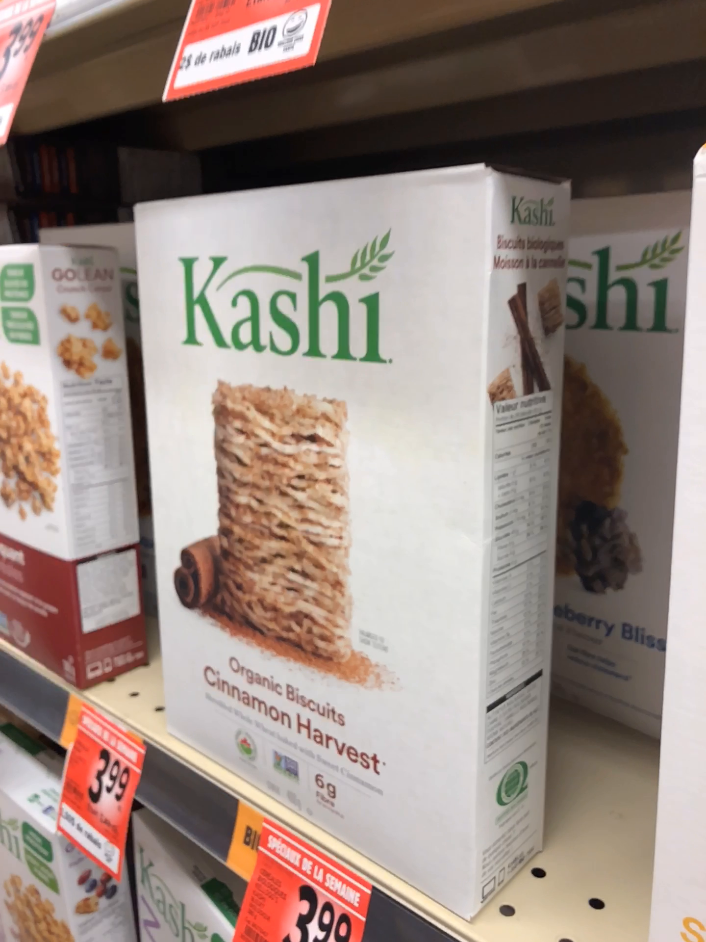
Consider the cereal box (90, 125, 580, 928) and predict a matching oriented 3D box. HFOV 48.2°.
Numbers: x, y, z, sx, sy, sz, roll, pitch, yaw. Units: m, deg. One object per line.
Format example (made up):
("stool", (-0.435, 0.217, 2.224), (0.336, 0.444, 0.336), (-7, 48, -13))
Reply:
("cereal box", (-0.015, 0.012, 0.342), (0.201, 0.269, 0.070), (11, 20, 42))
